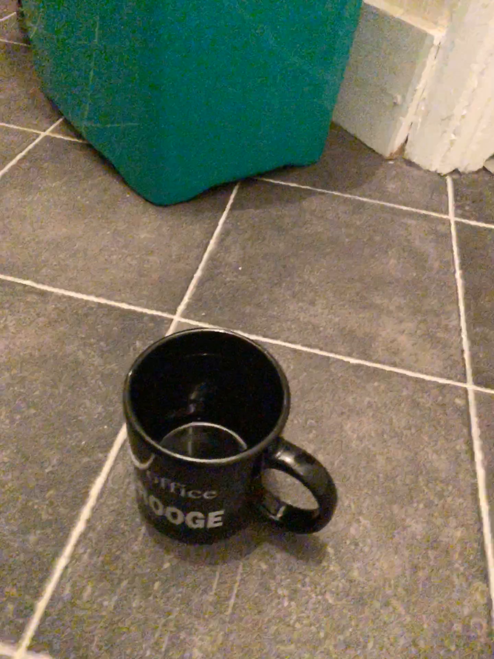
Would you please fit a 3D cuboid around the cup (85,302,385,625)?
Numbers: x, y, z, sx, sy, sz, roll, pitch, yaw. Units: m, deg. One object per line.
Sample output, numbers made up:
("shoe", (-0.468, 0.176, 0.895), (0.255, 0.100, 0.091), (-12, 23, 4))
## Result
("cup", (-0.010, 0.074, 0.279), (0.117, 0.114, 0.080), (28, 49, 17))
